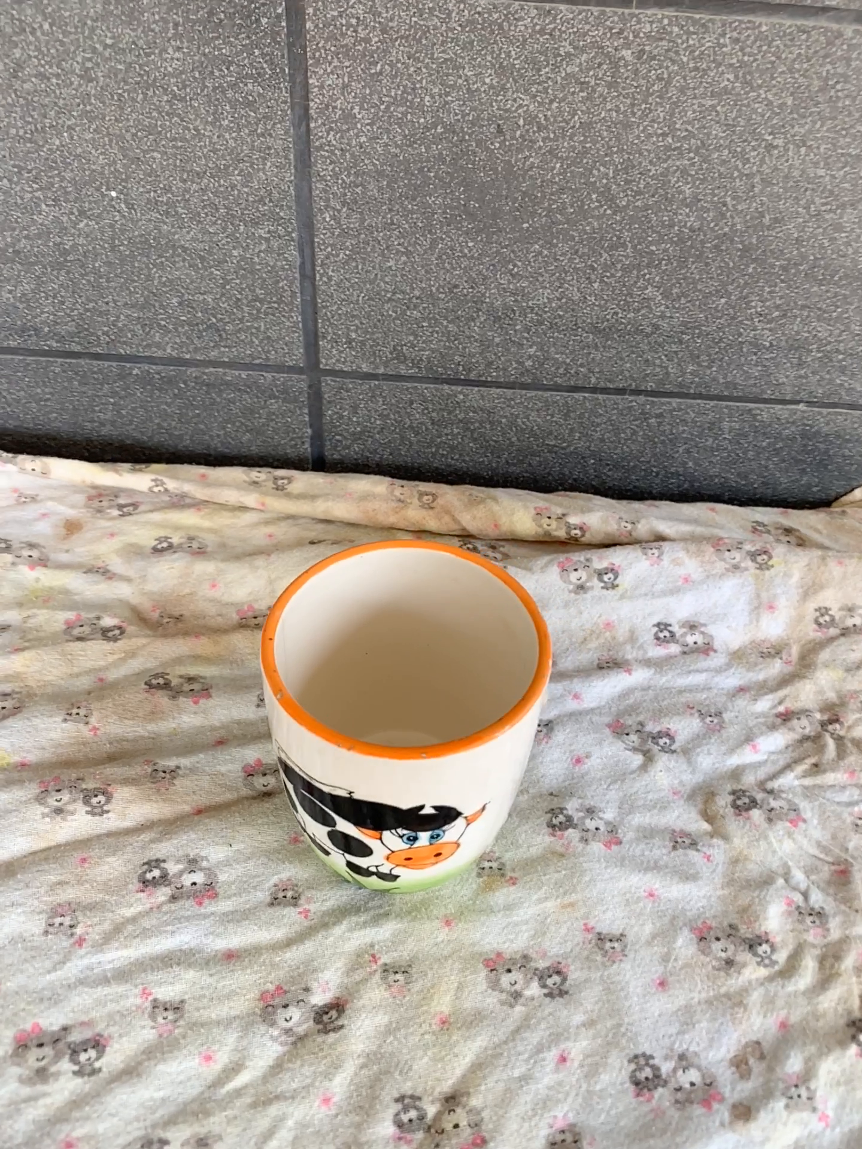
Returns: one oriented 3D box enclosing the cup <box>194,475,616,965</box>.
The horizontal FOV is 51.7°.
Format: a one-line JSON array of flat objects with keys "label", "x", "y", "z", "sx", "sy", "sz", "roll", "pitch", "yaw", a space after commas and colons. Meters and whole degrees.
[{"label": "cup", "x": -0.005, "y": 0.041, "z": 0.259, "sx": 0.080, "sy": 0.090, "sz": 0.080, "roll": 2, "pitch": 44, "yaw": -2}]
